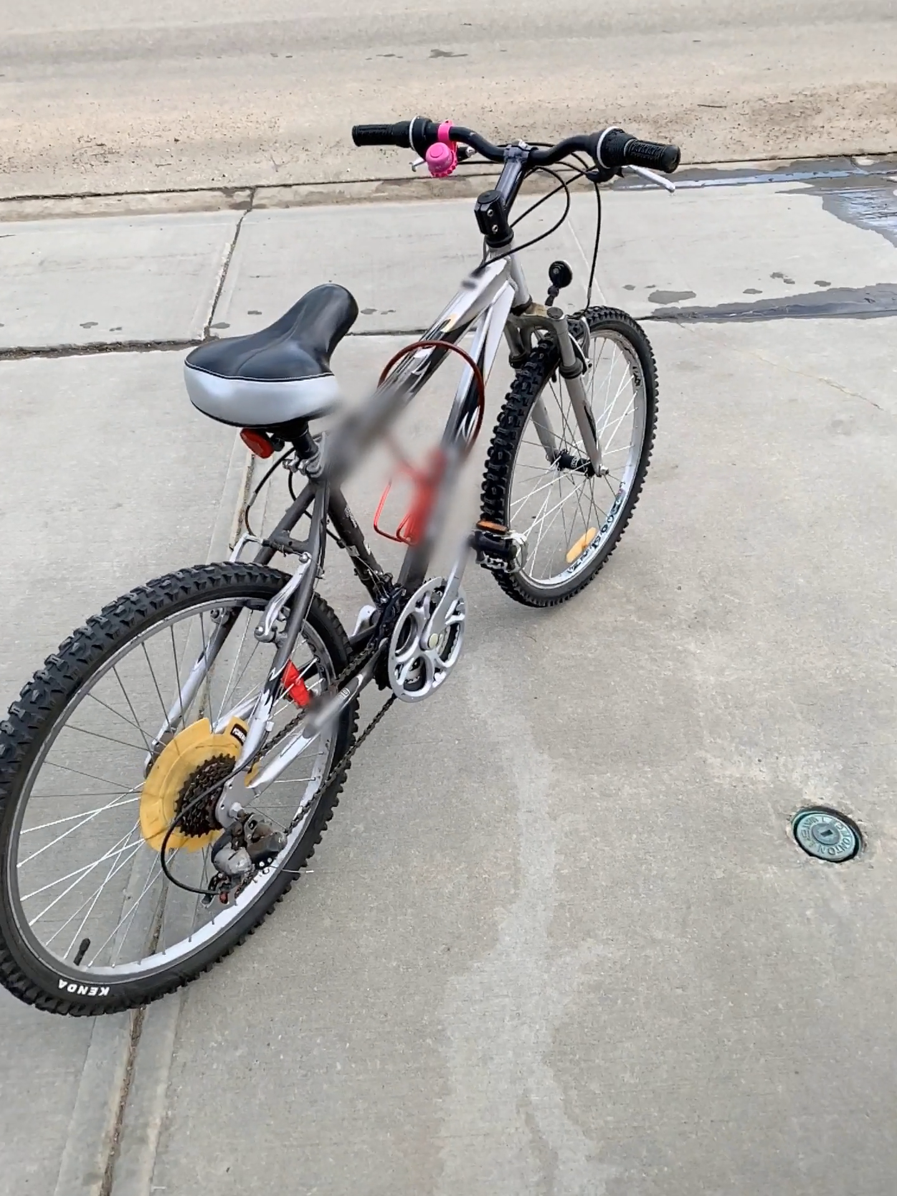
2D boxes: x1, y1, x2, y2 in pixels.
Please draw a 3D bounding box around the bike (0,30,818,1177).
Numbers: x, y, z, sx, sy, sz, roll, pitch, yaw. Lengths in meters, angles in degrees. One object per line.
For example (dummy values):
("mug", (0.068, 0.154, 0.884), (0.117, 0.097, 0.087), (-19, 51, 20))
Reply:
("bike", (-0.084, -0.166, 1.338), (0.540, 0.825, 1.502), (24, 50, 27))
